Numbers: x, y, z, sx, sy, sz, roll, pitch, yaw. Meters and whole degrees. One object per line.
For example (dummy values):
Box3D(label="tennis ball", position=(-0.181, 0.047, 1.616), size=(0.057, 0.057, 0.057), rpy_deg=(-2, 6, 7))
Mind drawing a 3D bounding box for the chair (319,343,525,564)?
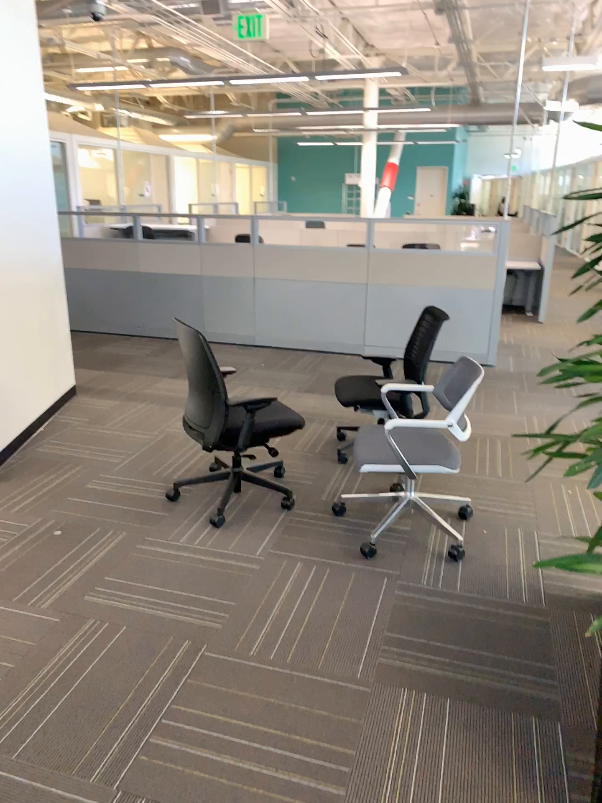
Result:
Box3D(label="chair", position=(0.484, 0.189, 2.823), size=(0.760, 0.737, 0.773), rpy_deg=(2, 18, 3))

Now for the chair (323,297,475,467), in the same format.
Box3D(label="chair", position=(0.590, -0.166, 4.048), size=(0.760, 0.926, 0.774), rpy_deg=(-1, 17, -7))

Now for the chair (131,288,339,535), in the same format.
Box3D(label="chair", position=(-0.350, -0.020, 3.094), size=(0.760, 0.956, 0.774), rpy_deg=(-9, 20, -26))
